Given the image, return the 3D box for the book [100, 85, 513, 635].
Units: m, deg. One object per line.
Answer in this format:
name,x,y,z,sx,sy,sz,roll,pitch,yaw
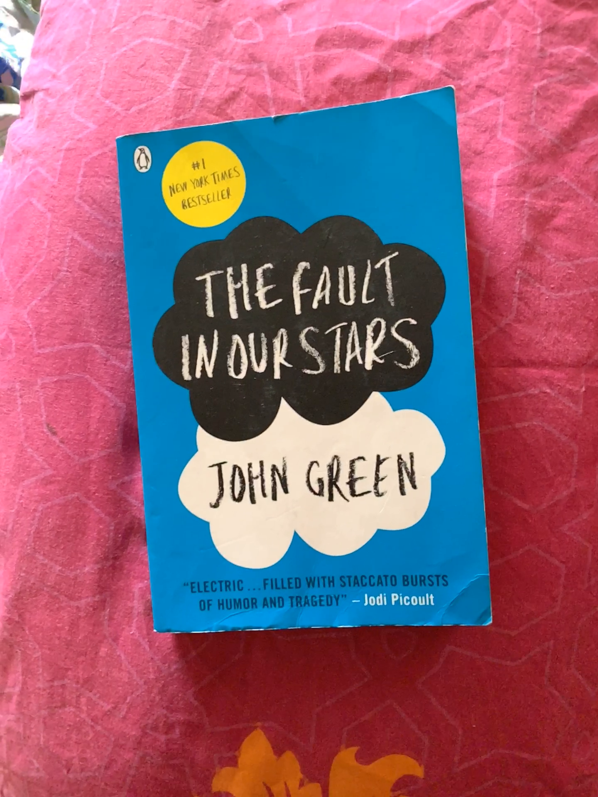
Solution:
book,0.000,-0.011,0.228,0.130,0.030,0.179,-5,86,8
